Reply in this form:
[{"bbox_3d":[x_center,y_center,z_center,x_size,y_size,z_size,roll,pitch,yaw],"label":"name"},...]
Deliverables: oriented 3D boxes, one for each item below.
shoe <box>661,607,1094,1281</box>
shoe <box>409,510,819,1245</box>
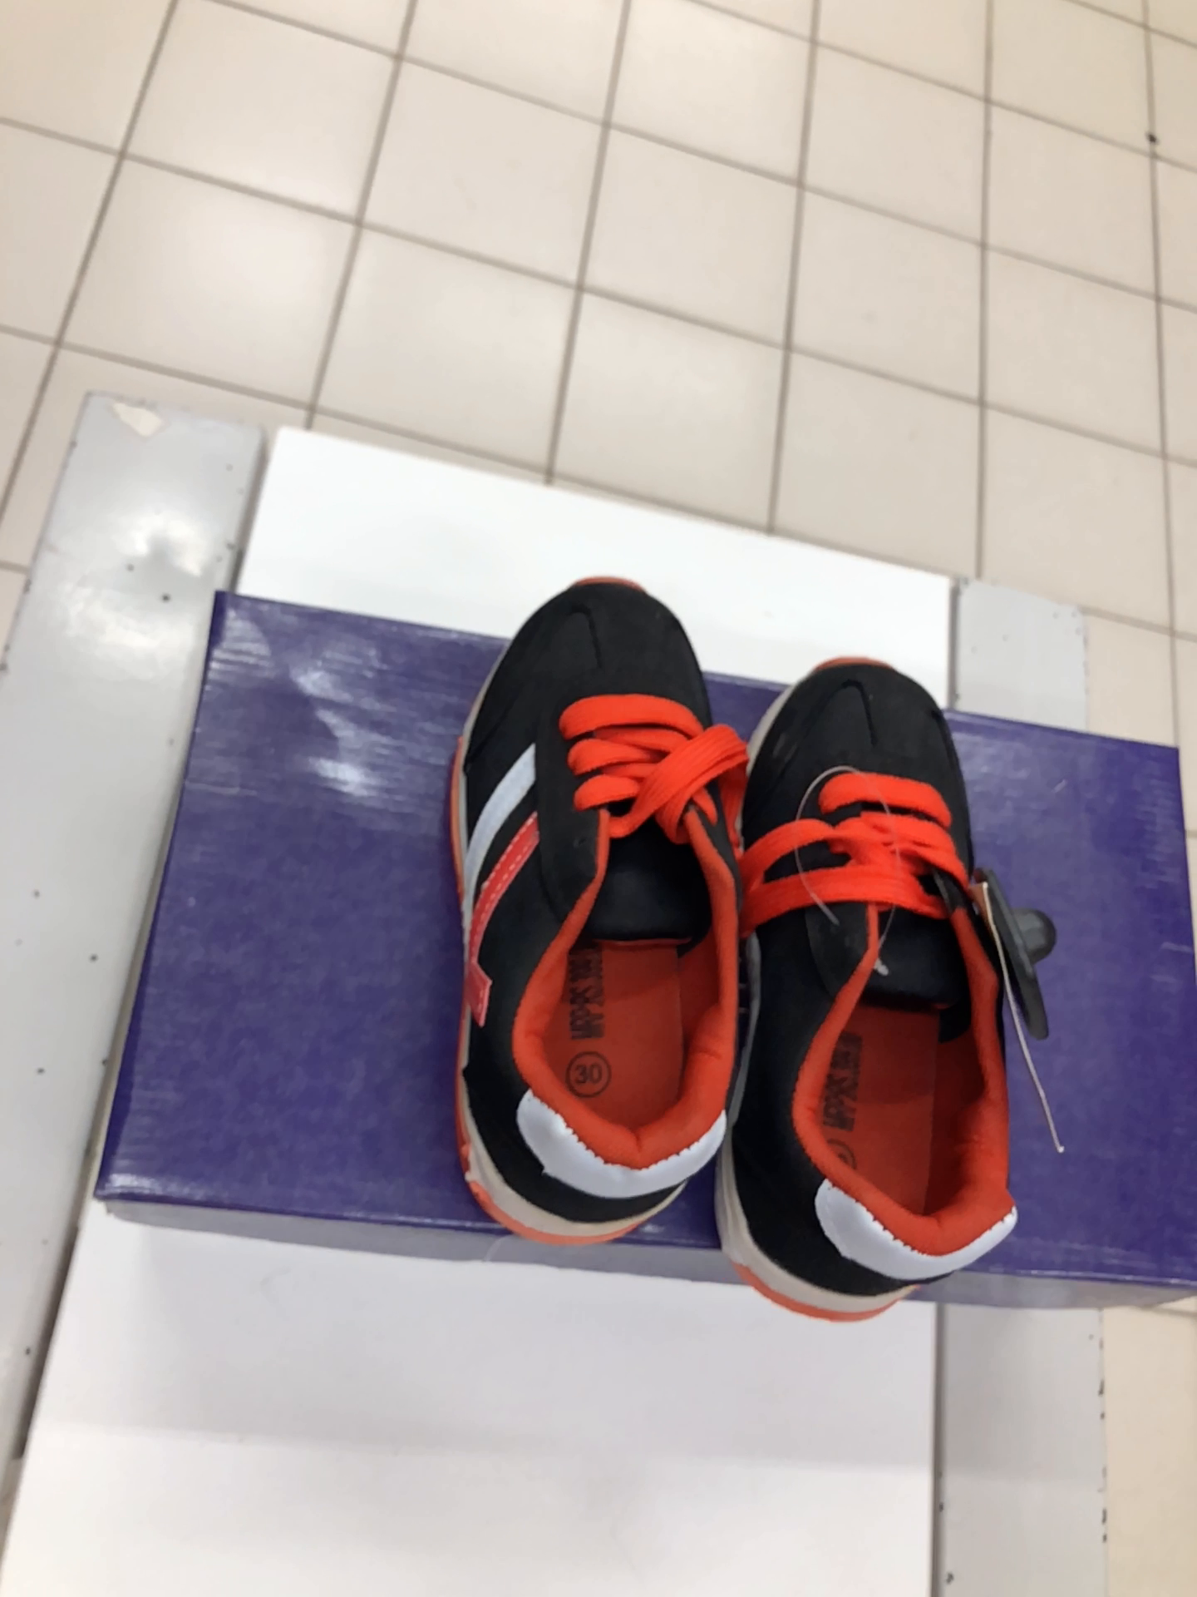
[{"bbox_3d":[0.077,0.049,0.395,0.080,0.100,0.170,10,68,-12],"label":"shoe"},{"bbox_3d":[0.004,0.029,0.384,0.080,0.100,0.181,10,68,-12],"label":"shoe"}]
